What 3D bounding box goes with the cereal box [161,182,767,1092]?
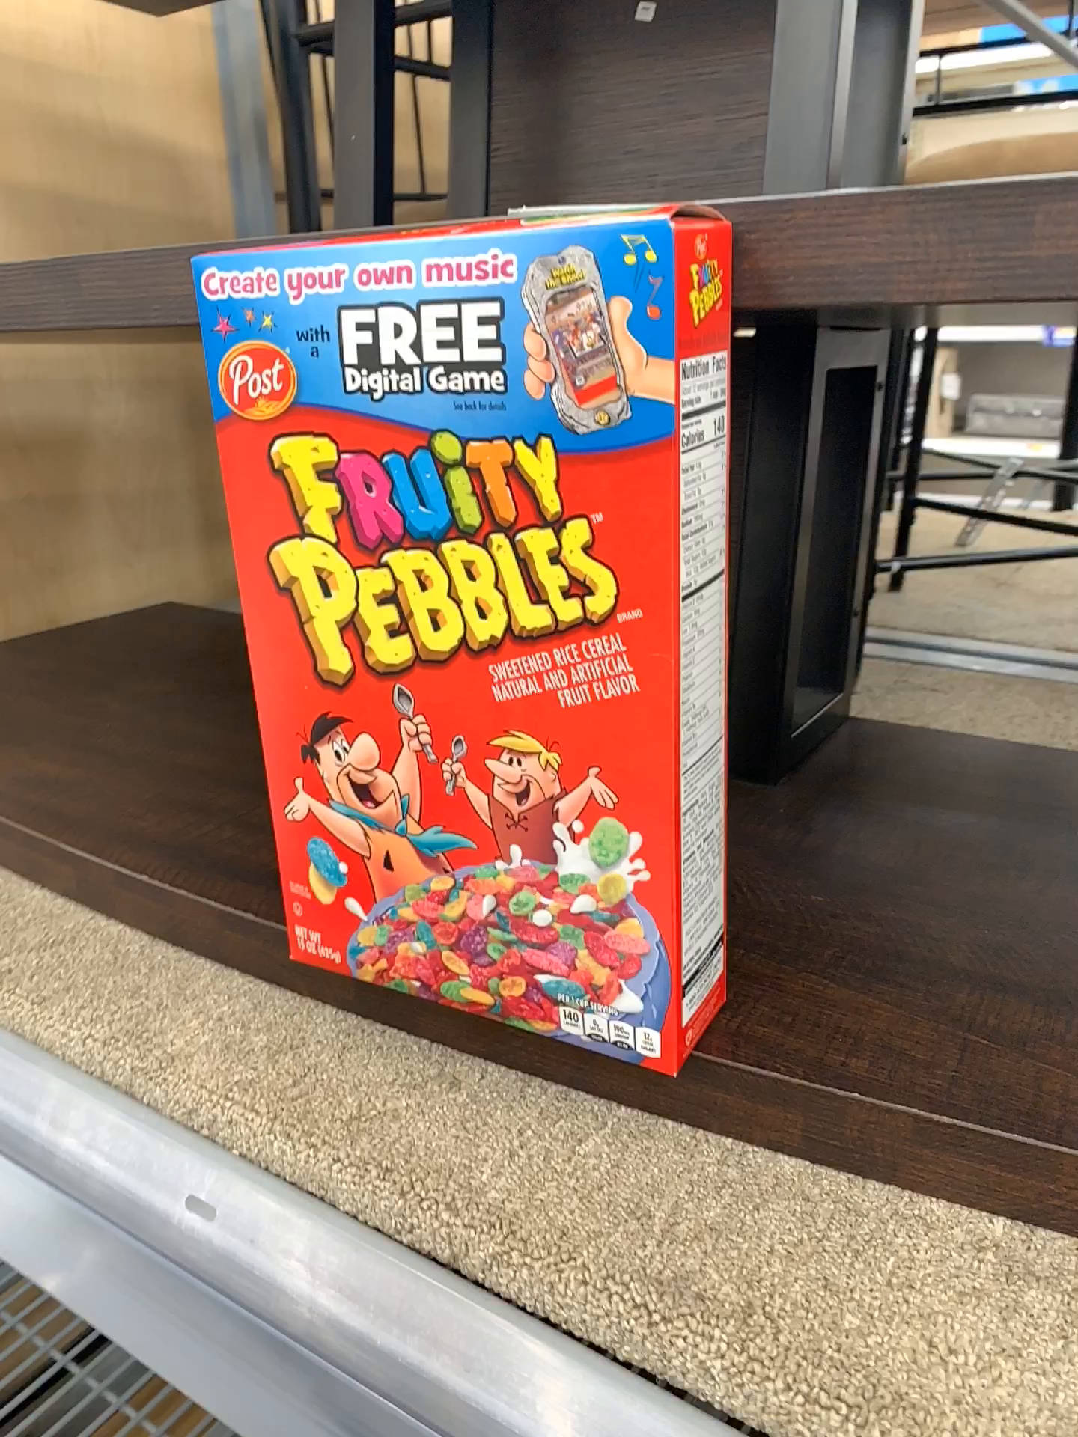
[{"bbox_3d":[-0.028,-0.030,0.436,0.210,0.309,0.060,9,23,28],"label":"cereal box"}]
